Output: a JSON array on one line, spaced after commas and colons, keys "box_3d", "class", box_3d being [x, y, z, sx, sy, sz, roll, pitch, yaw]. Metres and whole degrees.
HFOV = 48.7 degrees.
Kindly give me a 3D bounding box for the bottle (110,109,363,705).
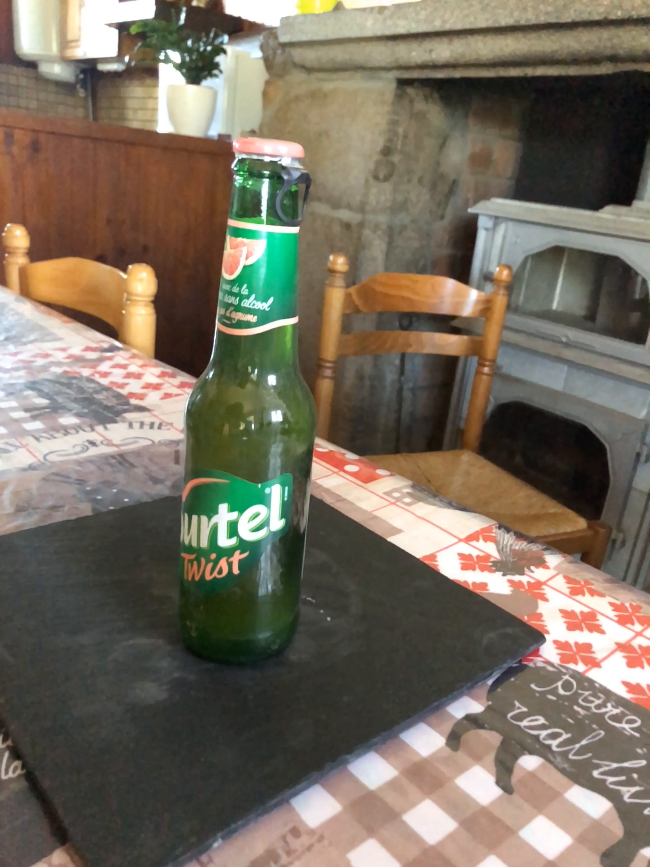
[{"box_3d": [-0.044, -0.010, 0.309, 0.070, 0.229, 0.060, 19, 22, 33], "class": "bottle"}]
